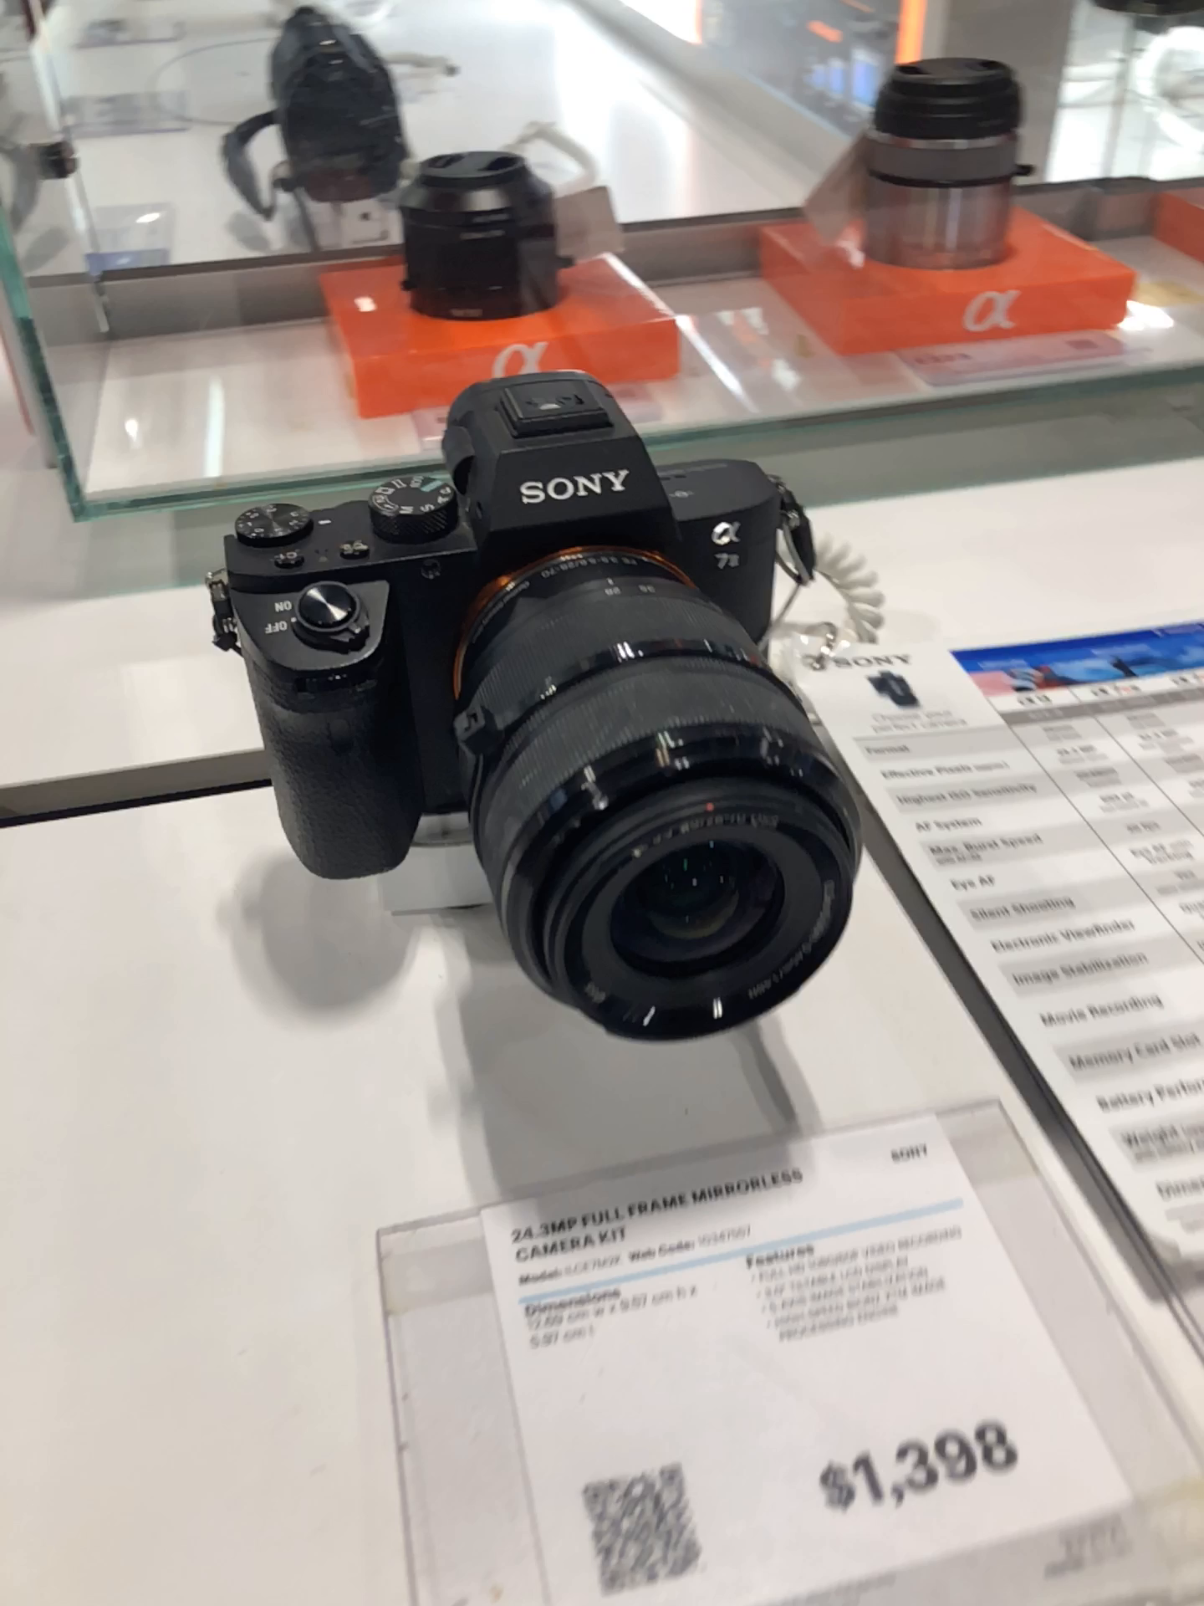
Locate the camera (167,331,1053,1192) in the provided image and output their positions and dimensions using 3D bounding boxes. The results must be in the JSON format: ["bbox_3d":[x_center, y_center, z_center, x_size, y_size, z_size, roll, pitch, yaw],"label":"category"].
[{"bbox_3d":[-0.011,-0.021,0.273,0.130,0.089,0.141,-12,40,-11],"label":"camera"}]
